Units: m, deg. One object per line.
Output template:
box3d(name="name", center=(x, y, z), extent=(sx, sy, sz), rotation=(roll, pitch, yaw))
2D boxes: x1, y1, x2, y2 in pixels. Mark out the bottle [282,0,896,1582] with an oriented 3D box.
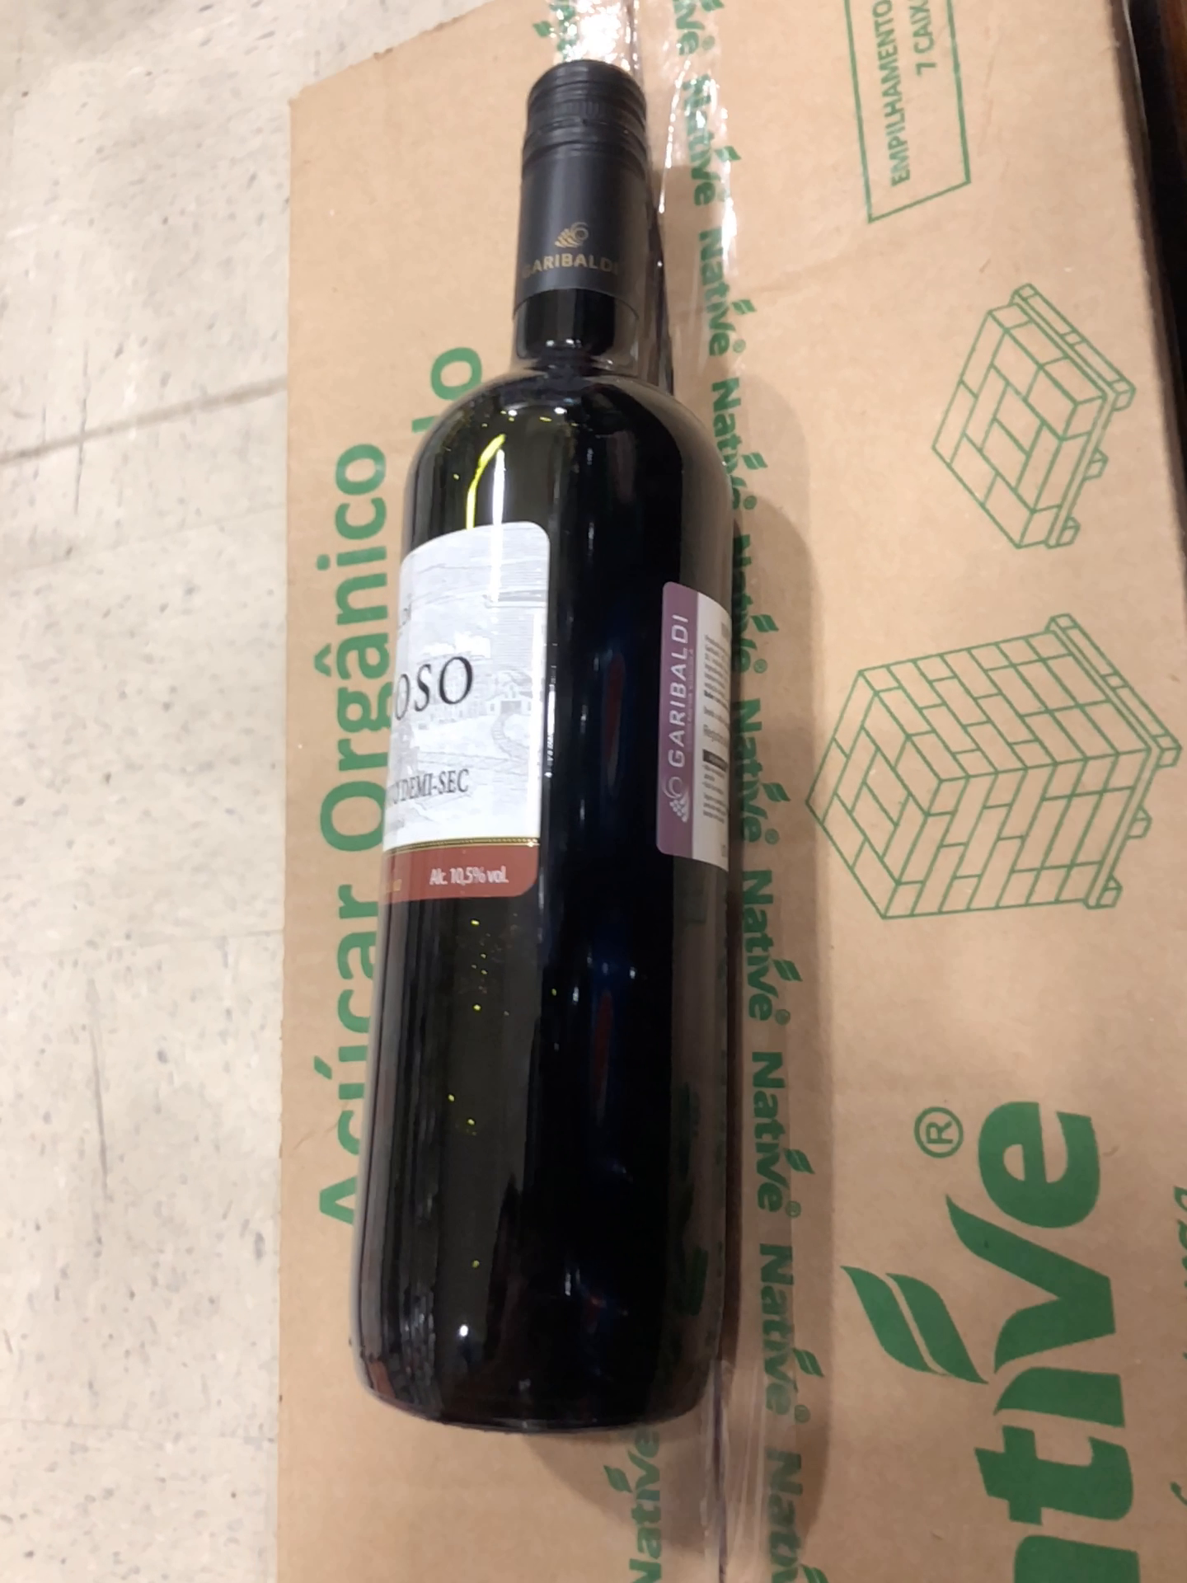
box3d(name="bottle", center=(0.011, -0.040, 0.281), extent=(0.090, 0.080, 0.340), rotation=(-2, 77, 23))
